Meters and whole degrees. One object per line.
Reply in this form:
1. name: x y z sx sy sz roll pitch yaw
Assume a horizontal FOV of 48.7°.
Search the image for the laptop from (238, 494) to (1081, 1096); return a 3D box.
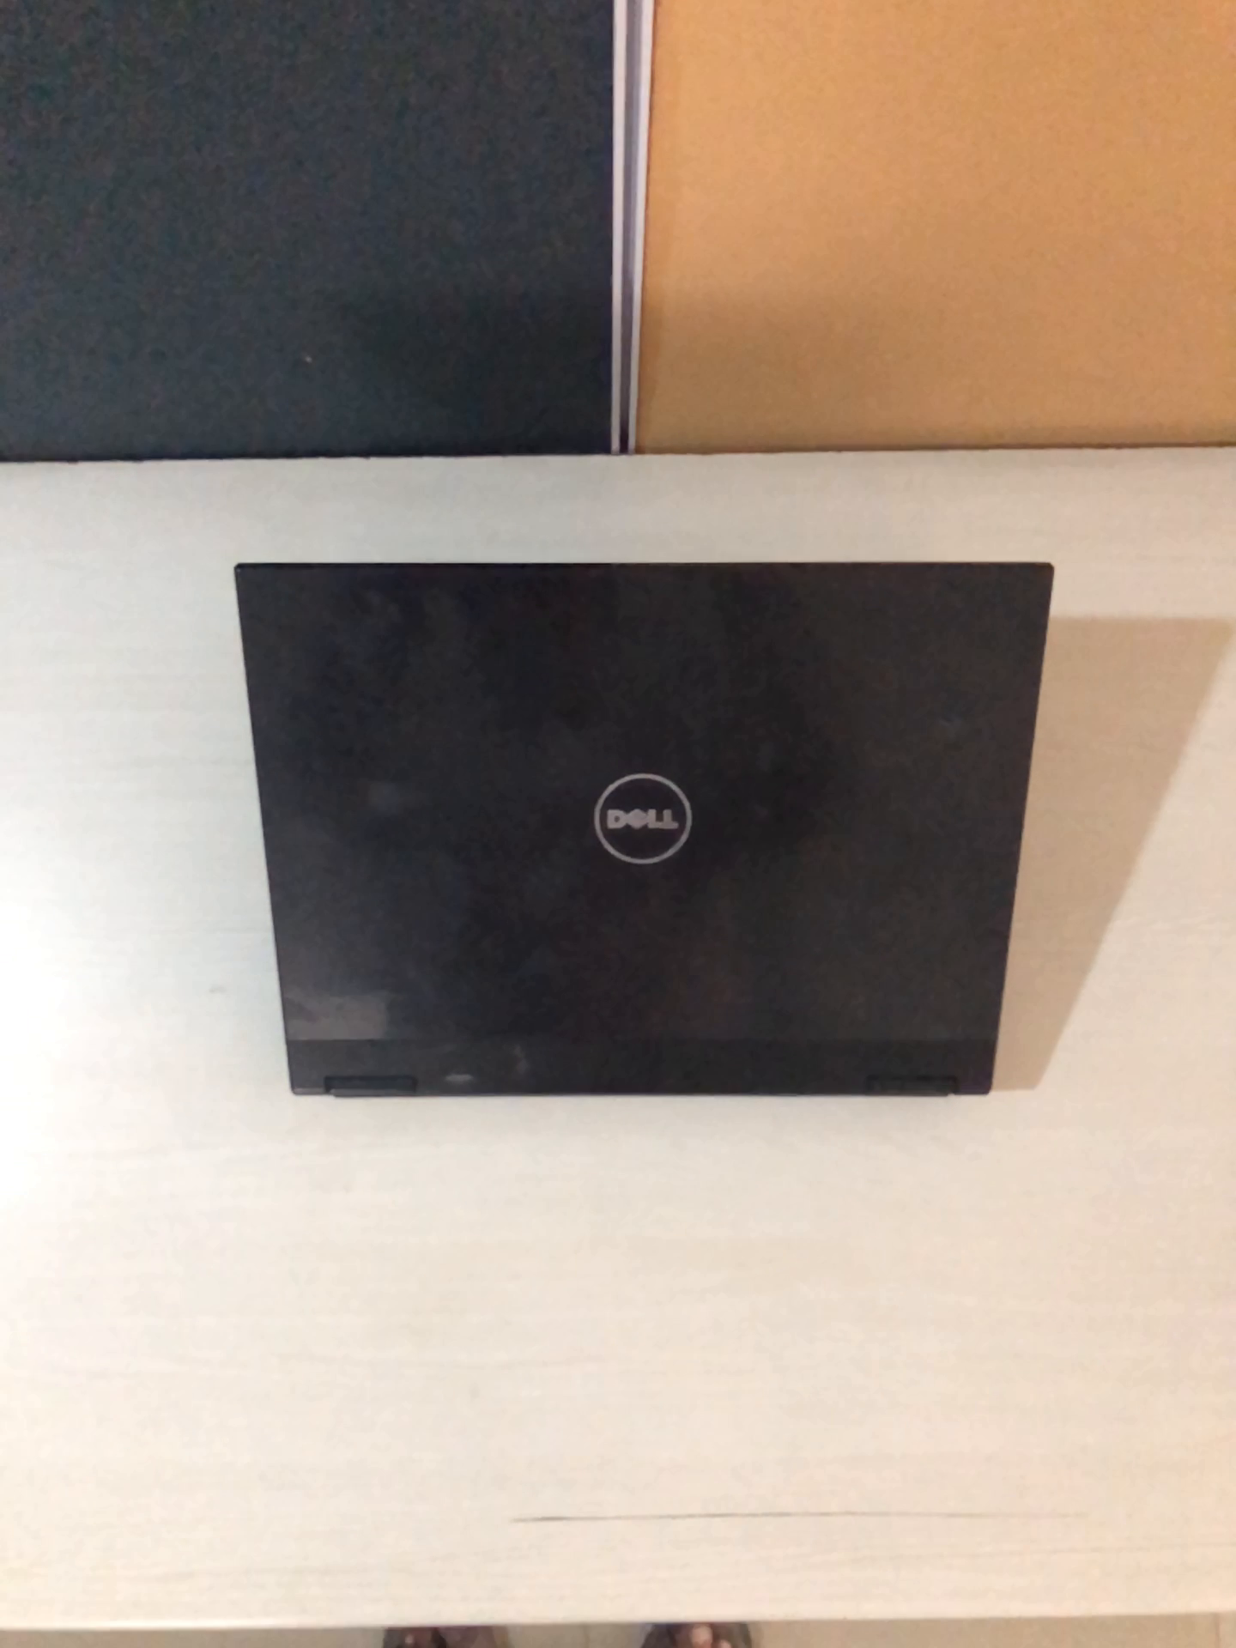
1. laptop: 0.014 -0.004 0.570 0.302 0.127 0.224 0 81 0
